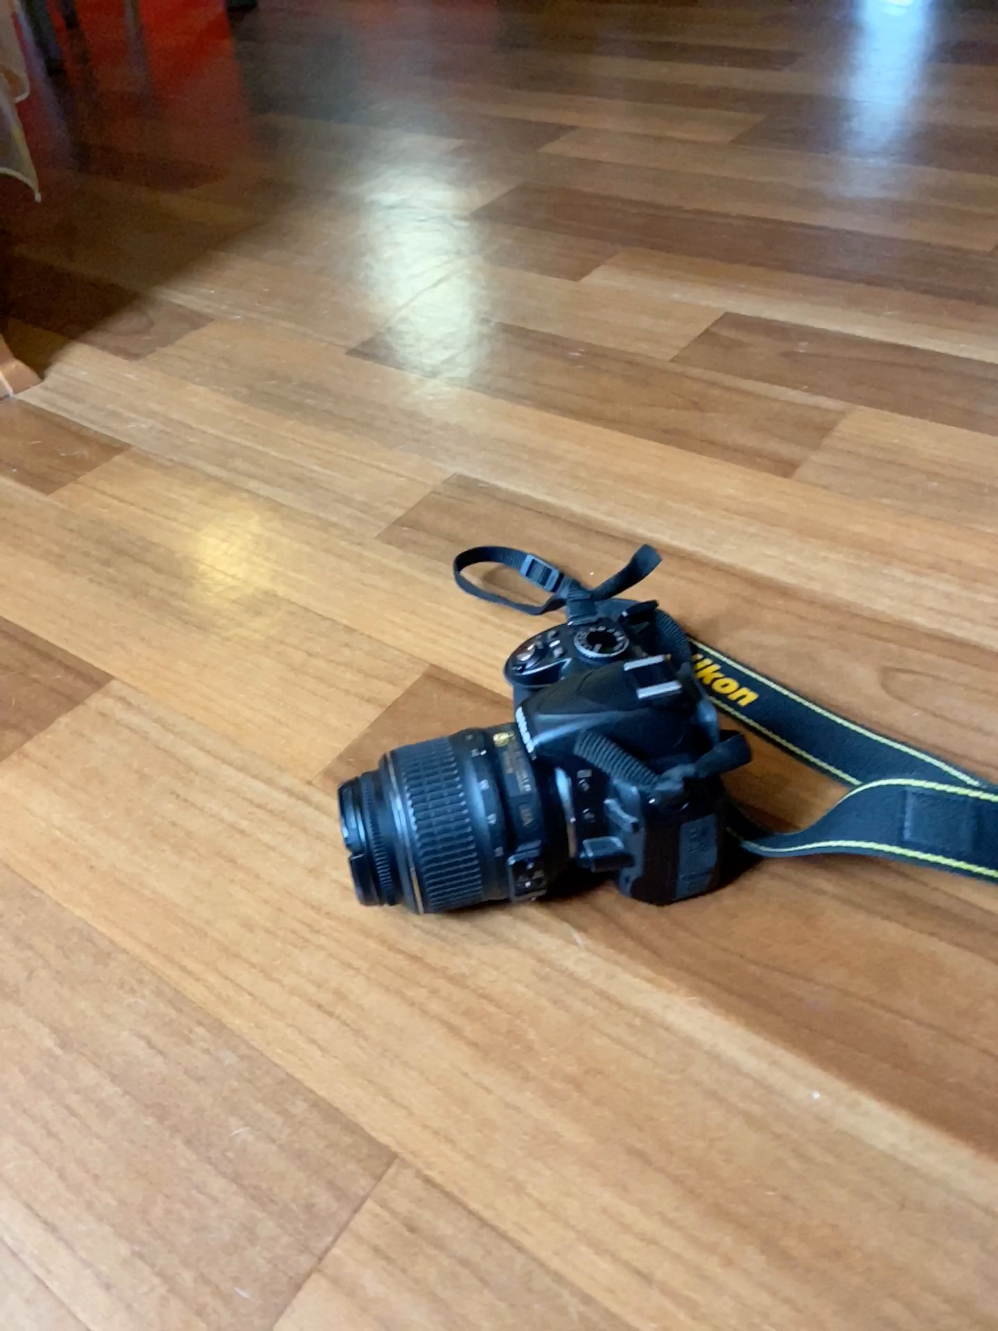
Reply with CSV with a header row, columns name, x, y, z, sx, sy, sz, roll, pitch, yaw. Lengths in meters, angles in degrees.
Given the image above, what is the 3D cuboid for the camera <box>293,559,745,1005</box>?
name,x,y,z,sx,sy,sz,roll,pitch,yaw
camera,0.005,0.046,0.442,0.153,0.100,0.121,-15,43,-9
